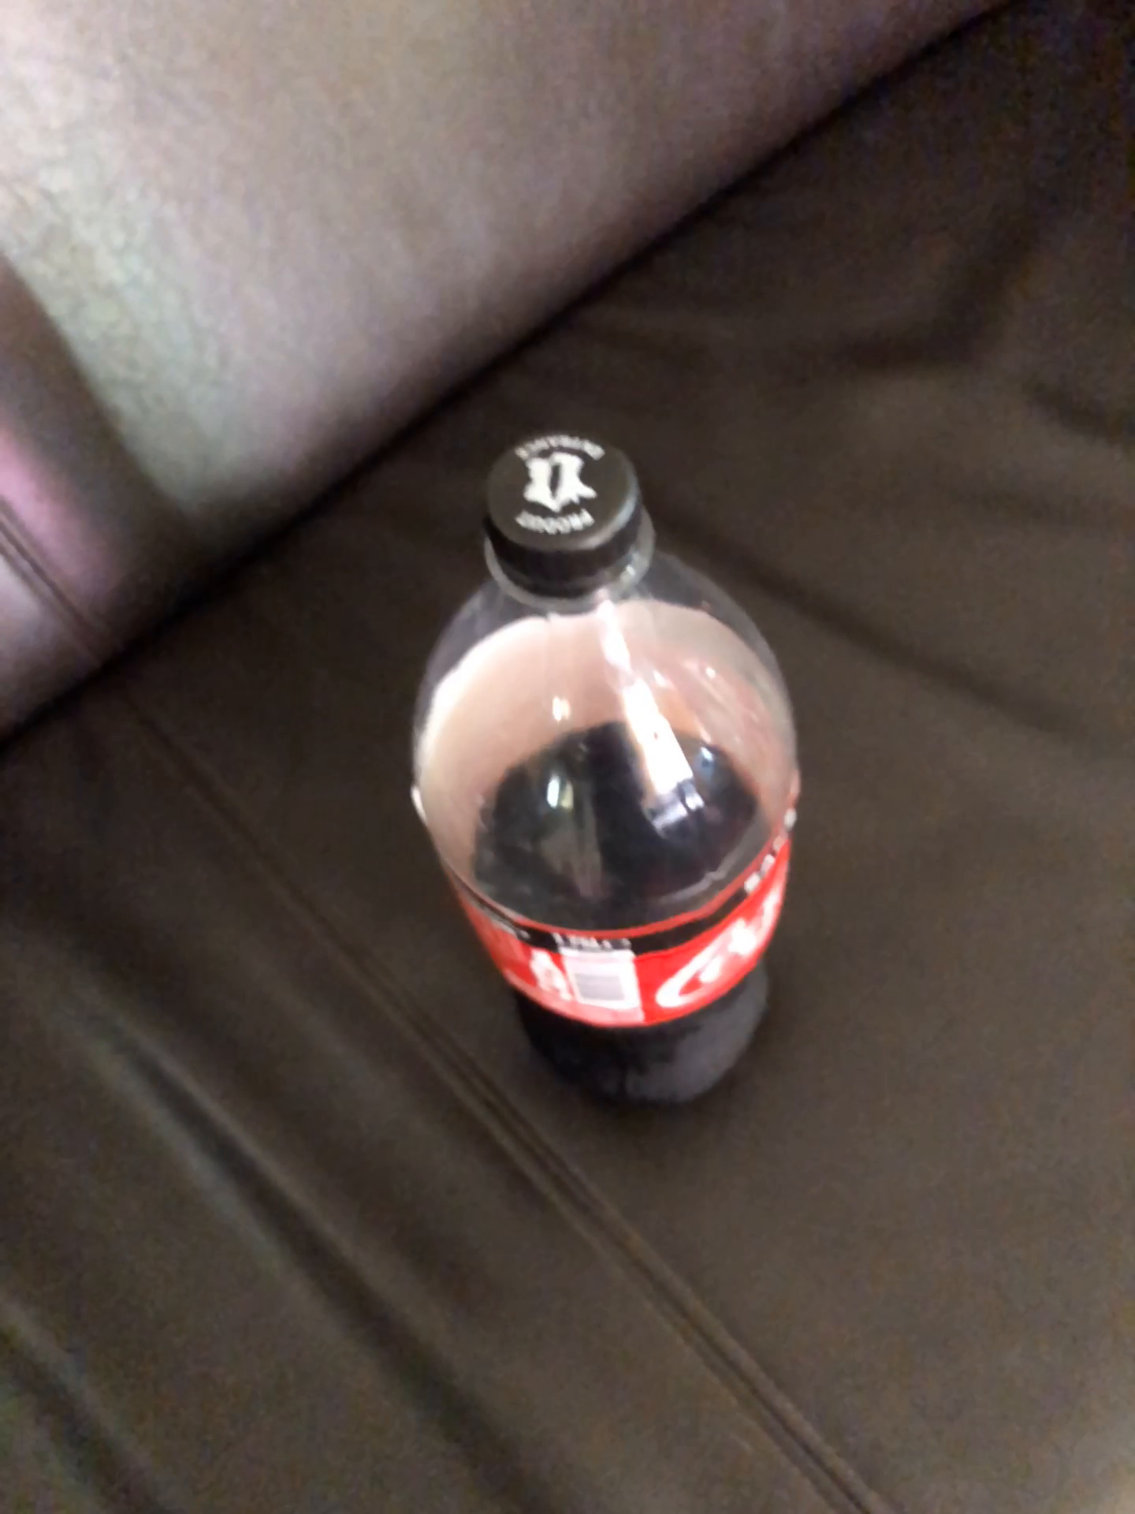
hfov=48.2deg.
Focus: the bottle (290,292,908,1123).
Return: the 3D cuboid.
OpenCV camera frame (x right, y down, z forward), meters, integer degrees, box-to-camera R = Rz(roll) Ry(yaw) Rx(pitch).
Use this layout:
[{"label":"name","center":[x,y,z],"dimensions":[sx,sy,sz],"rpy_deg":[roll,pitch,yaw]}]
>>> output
[{"label":"bottle","center":[0.019,0.024,0.370],"dimensions":[0.100,0.319,0.100],"rpy_deg":[-2,64,4]}]
